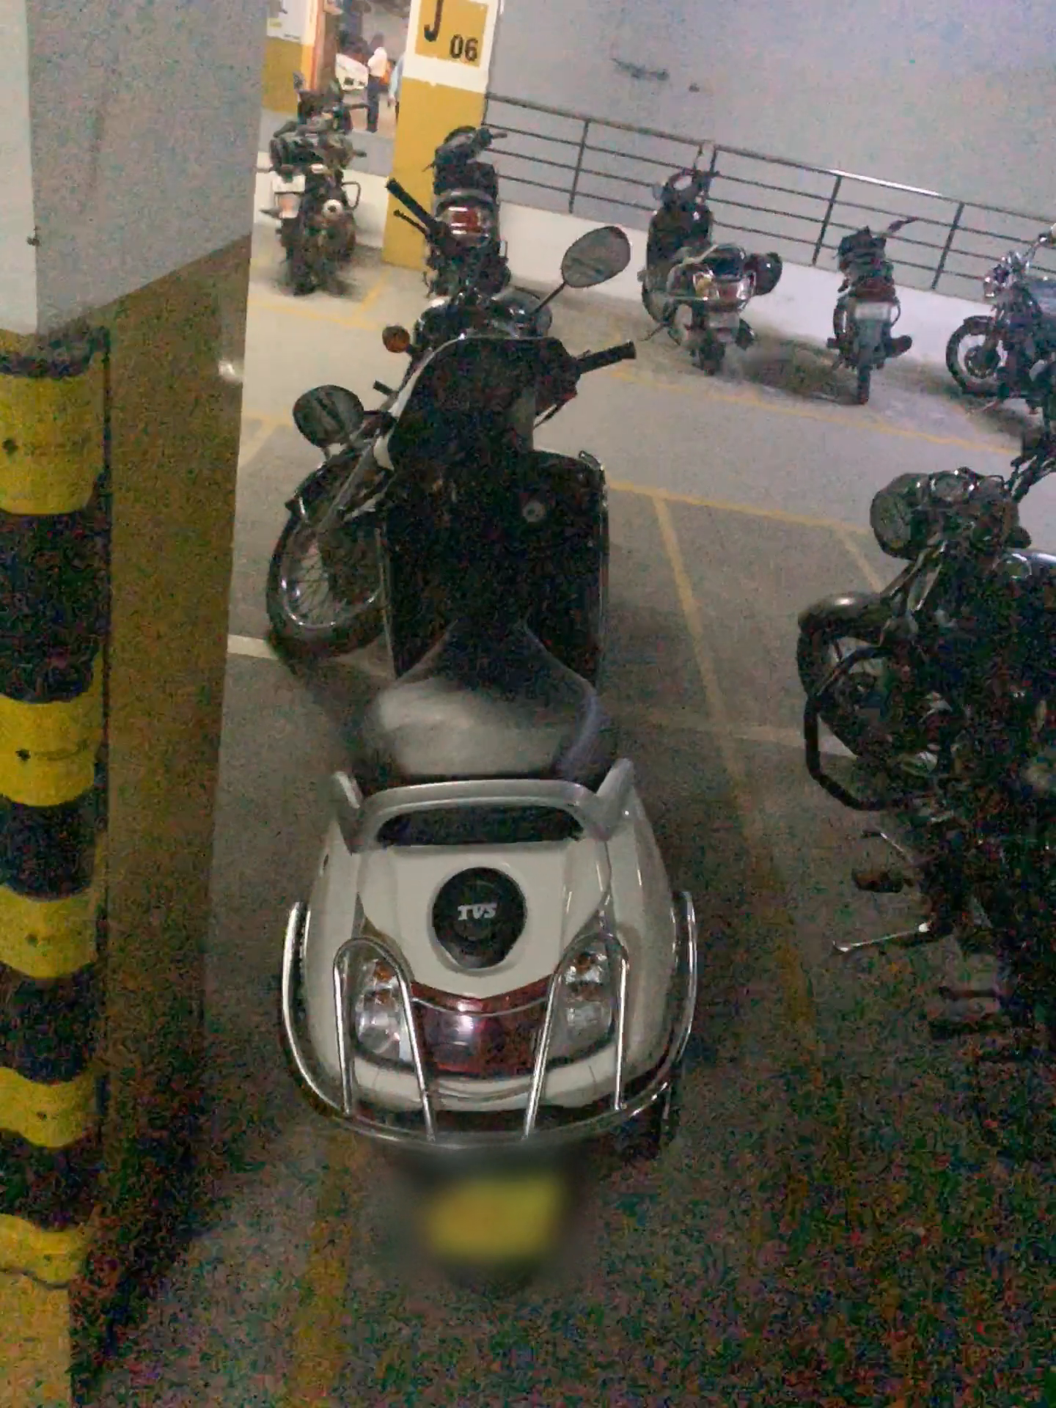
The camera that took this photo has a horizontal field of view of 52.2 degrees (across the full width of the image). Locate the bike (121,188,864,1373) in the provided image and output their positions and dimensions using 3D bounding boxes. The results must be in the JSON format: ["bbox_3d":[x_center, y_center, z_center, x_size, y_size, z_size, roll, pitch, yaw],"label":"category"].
[{"bbox_3d":[-0.140,-0.043,1.848,0.647,1.159,1.538,9,33,-7],"label":"bike"}]
